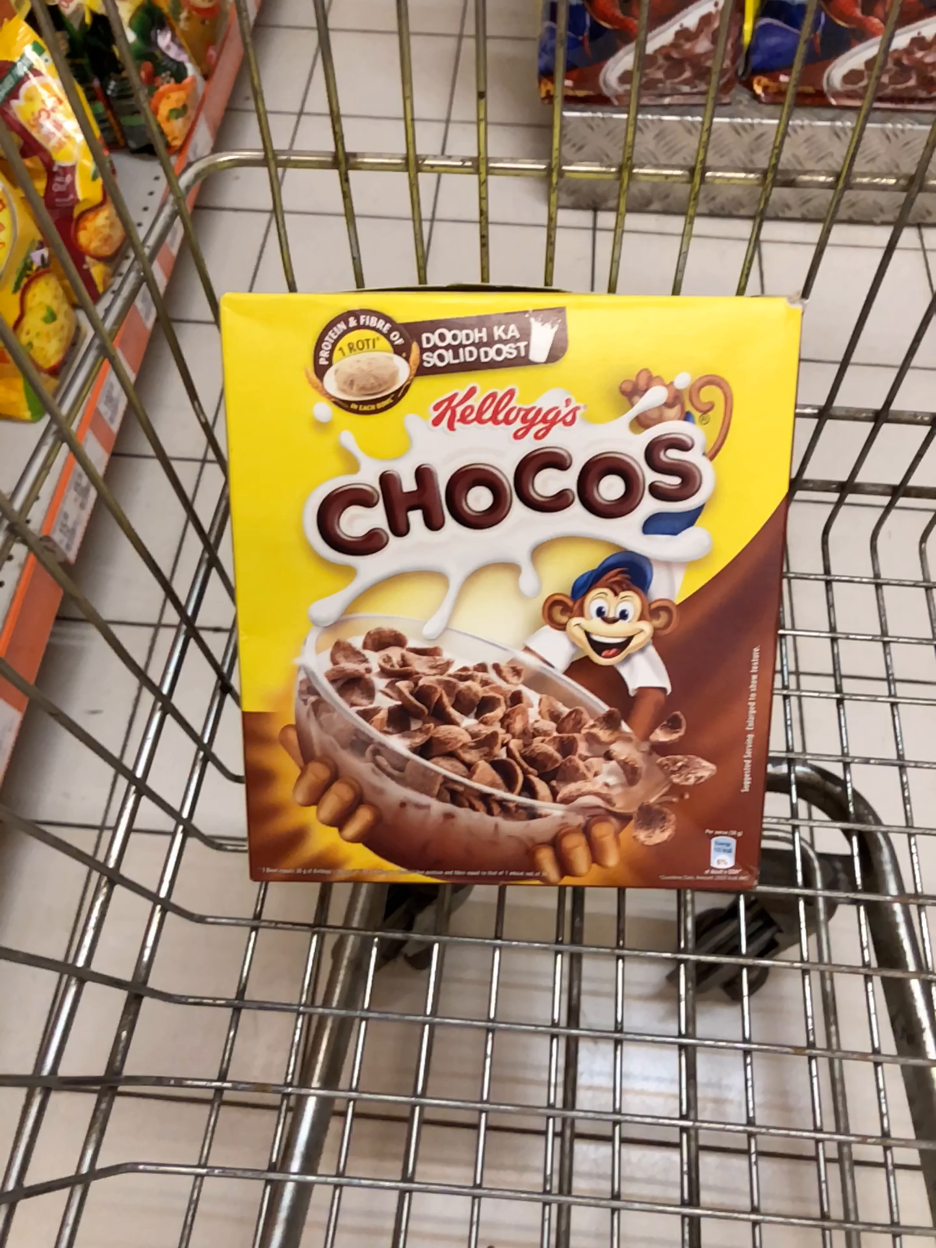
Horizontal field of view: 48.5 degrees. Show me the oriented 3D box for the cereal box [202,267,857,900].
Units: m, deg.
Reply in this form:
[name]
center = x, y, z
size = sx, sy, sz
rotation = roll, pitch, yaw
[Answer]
[cereal box]
center = 0.017, -0.014, 0.359
size = 0.190, 0.070, 0.200
rotation = 1, 104, 1
